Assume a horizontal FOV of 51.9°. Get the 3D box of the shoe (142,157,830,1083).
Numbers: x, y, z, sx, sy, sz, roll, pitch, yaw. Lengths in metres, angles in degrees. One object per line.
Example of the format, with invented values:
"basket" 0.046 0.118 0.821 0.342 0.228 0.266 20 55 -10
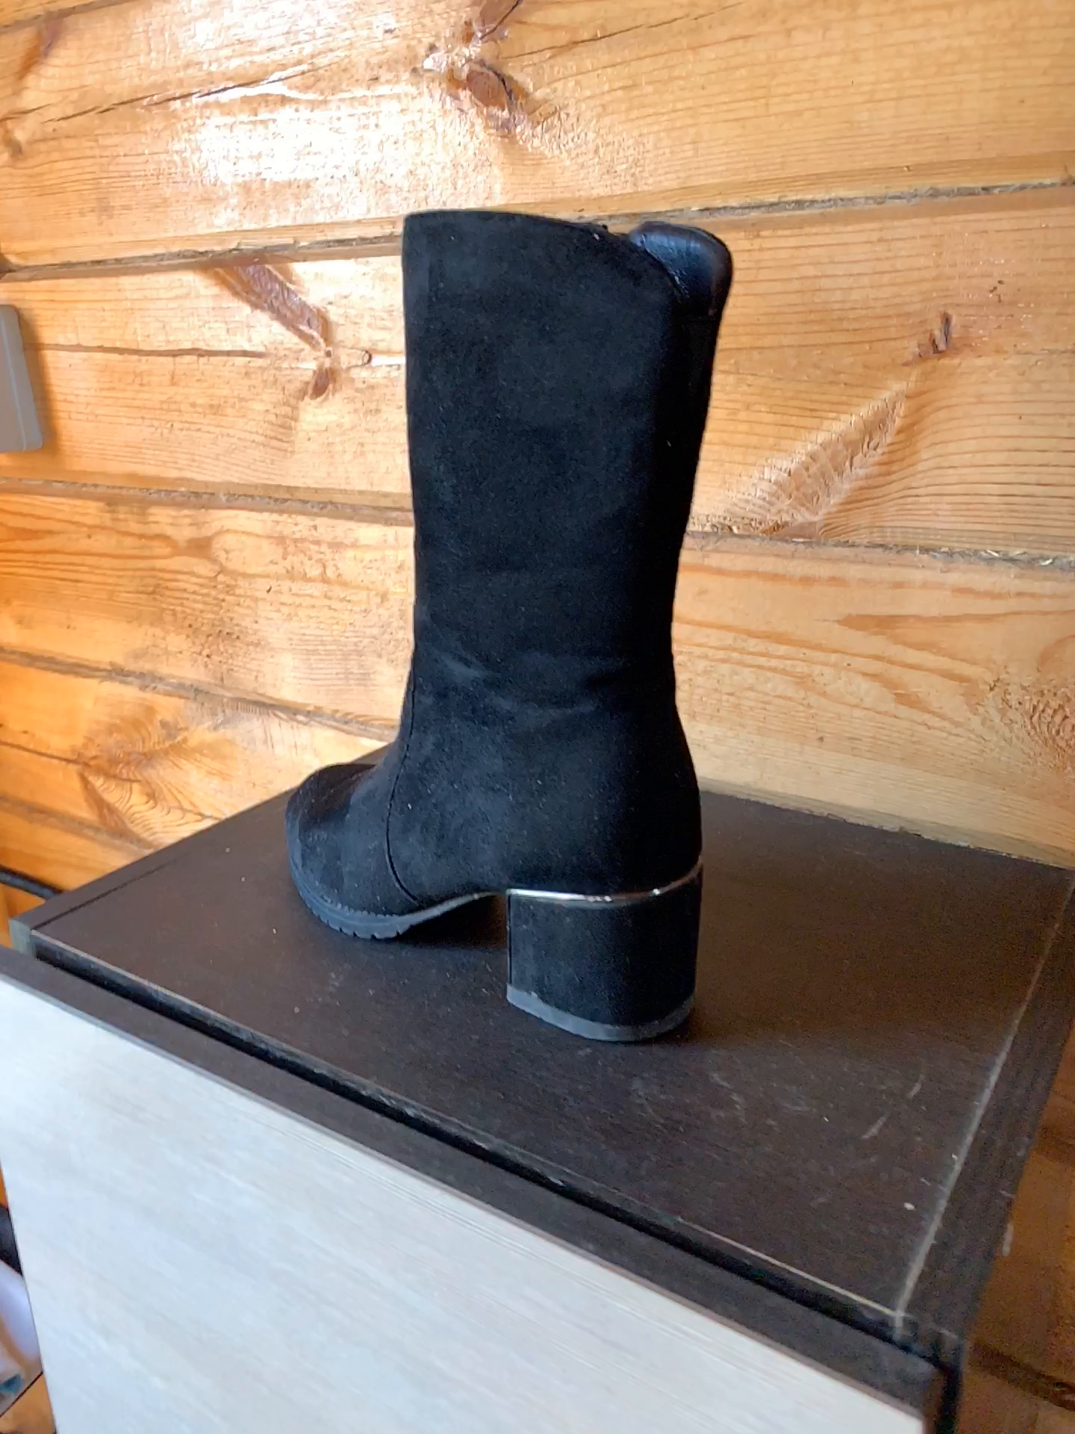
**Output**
"shoe" -0.027 -0.046 0.423 0.233 0.268 0.100 14 22 38
